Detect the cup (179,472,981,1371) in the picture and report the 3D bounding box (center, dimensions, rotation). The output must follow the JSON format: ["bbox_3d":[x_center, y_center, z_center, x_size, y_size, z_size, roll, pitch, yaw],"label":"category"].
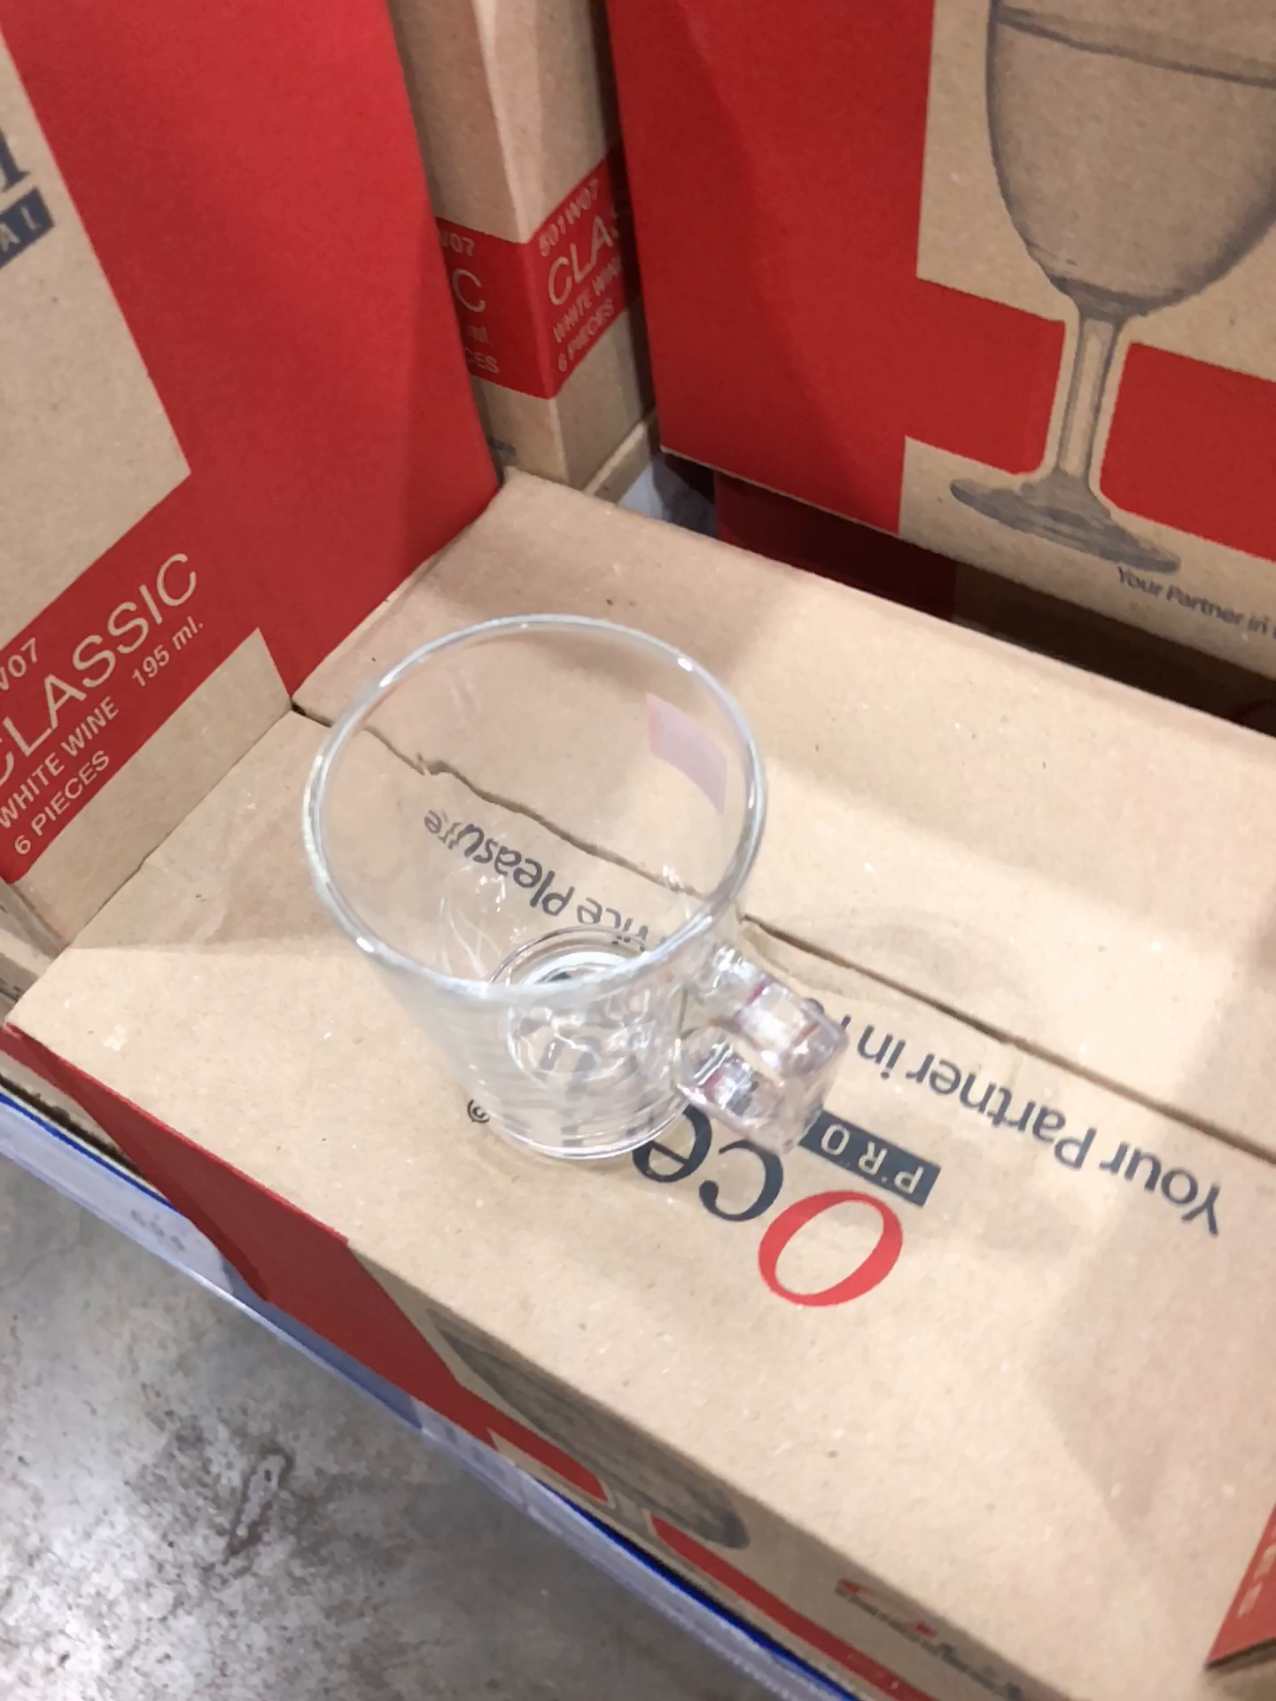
[{"bbox_3d":[-0.003,0.015,0.204,0.070,0.100,0.060,34,66,25],"label":"cup"}]
